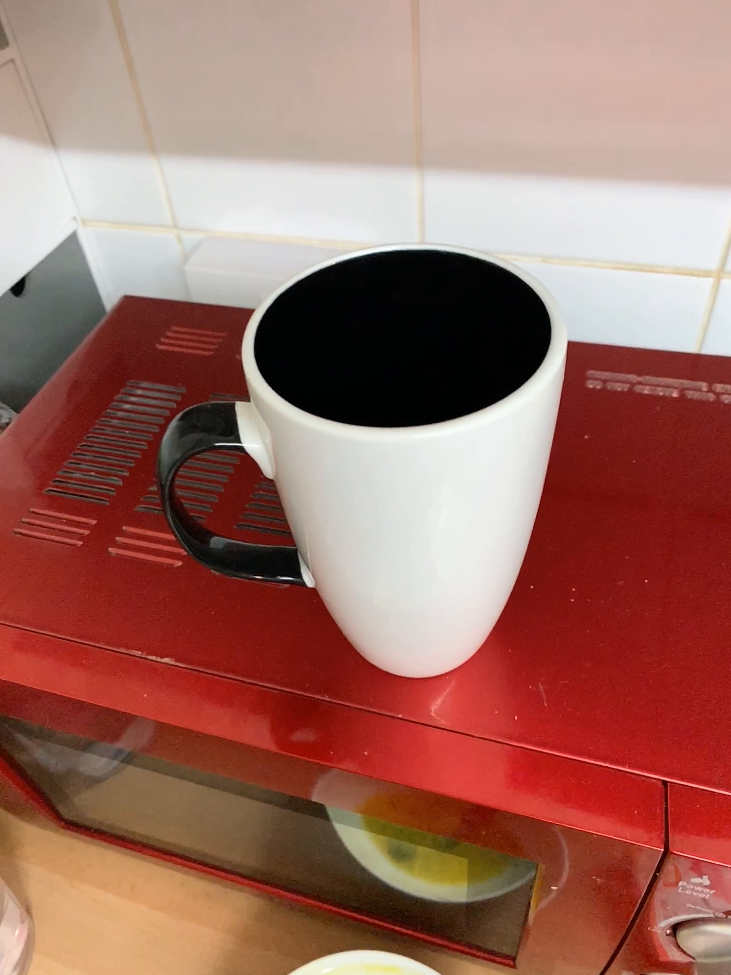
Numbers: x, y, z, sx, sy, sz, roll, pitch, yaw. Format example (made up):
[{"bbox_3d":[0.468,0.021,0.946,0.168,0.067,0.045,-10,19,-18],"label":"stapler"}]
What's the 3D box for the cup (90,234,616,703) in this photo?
[{"bbox_3d":[0.000,-0.001,0.264,0.130,0.129,0.091,-4,46,3],"label":"cup"}]
